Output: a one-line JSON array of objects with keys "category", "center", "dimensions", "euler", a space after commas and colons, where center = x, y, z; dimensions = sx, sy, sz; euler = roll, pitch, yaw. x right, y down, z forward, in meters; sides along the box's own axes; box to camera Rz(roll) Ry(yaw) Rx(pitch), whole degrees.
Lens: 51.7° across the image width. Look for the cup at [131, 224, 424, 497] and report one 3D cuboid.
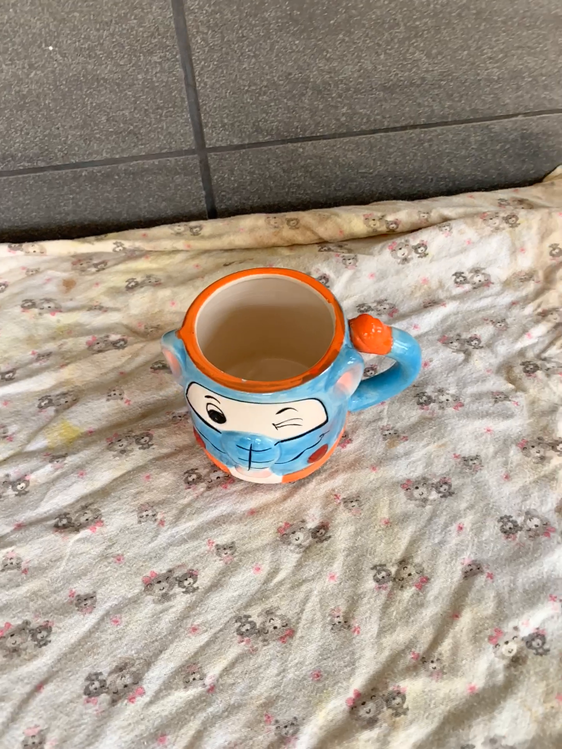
[{"category": "cup", "center": [-0.001, -0.005, 0.281], "dimensions": [0.110, 0.090, 0.090], "euler": [-3, 53, 1]}]
